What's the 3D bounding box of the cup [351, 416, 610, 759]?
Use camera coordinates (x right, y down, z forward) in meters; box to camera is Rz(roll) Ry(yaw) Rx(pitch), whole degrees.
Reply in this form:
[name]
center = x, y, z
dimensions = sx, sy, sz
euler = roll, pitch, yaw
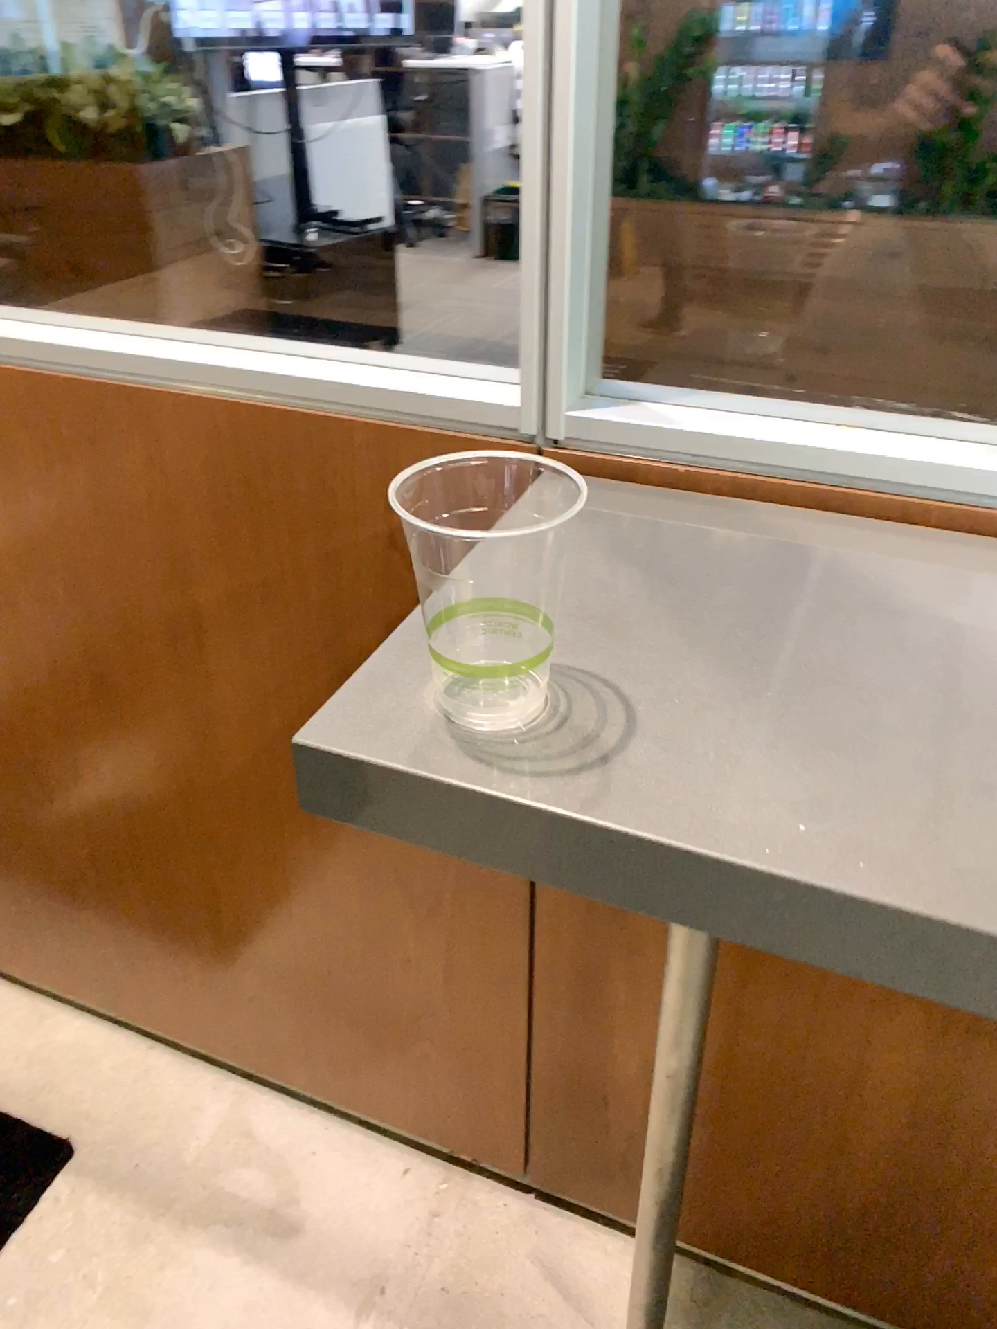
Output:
[cup]
center = -0.006, -0.042, 0.514
dimensions = 0.090, 0.129, 0.090
euler = 0, 32, 0
